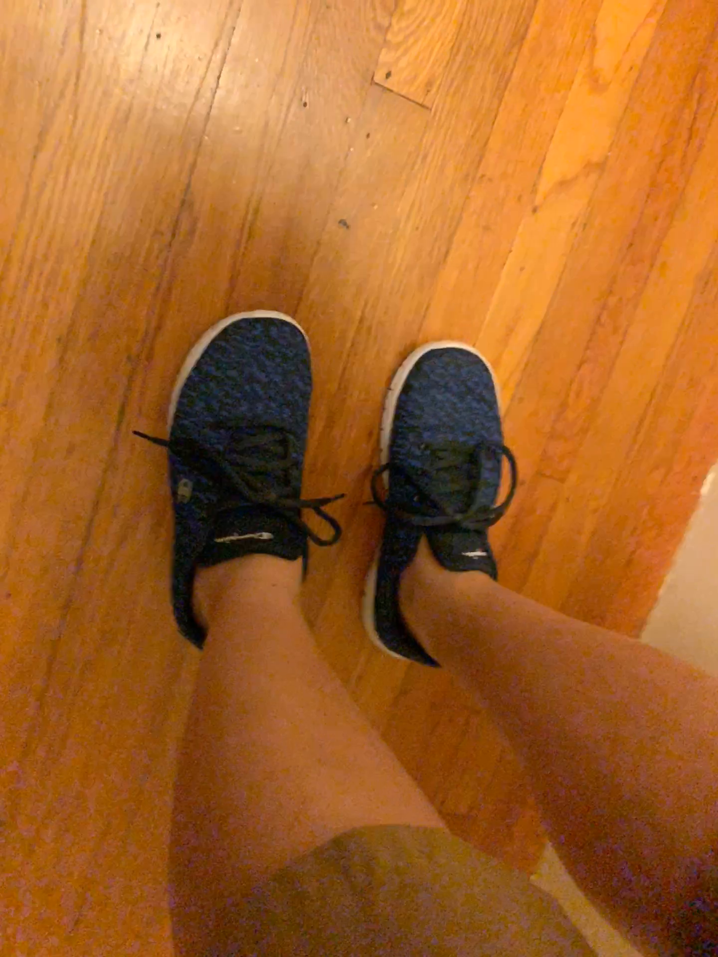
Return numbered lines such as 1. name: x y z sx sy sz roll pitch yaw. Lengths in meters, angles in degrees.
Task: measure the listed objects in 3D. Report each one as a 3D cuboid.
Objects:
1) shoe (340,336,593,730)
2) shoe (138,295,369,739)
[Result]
1. shoe: 0.073 0.038 0.593 0.117 0.130 0.280 3 105 -16
2. shoe: -0.091 0.022 0.552 0.115 0.150 0.290 5 104 -17
